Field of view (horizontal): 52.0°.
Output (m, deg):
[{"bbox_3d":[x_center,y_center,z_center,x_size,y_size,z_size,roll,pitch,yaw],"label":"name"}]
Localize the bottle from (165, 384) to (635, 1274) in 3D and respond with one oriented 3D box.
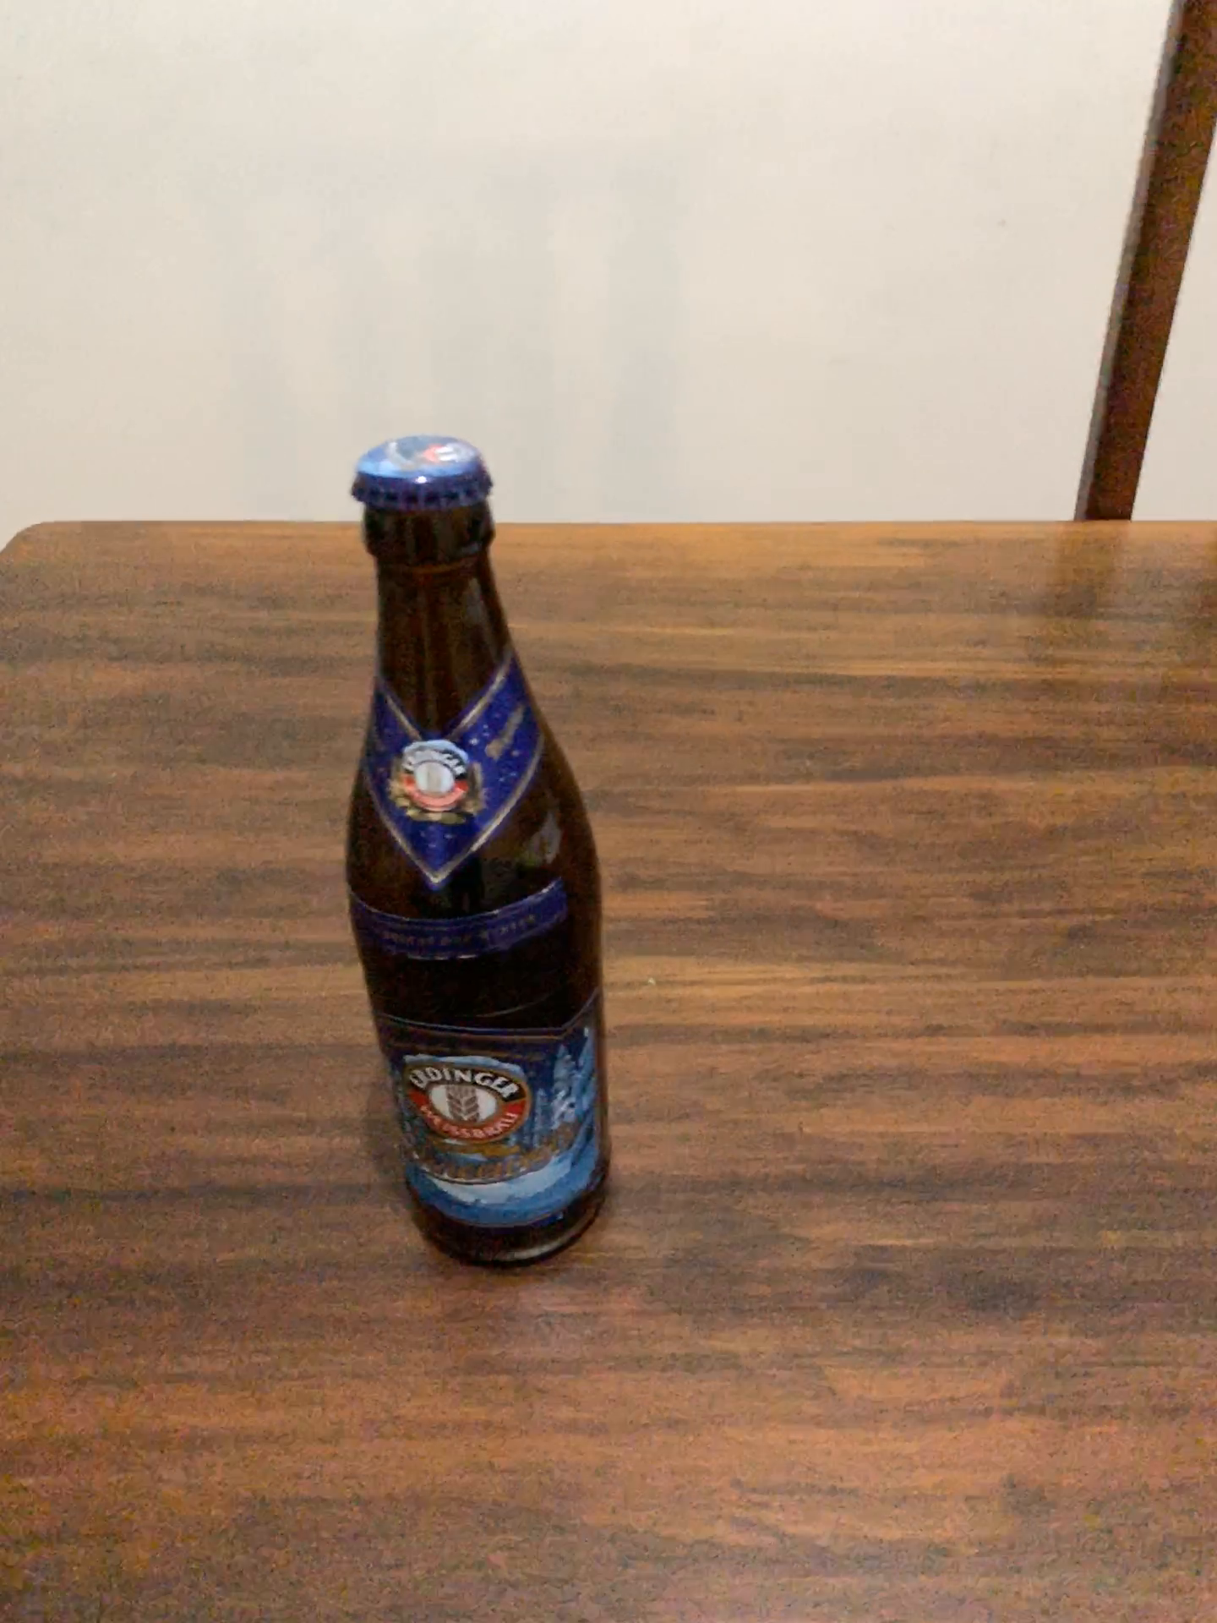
[{"bbox_3d":[-0.035,0.024,0.327,0.080,0.249,0.070,1,41,3],"label":"bottle"}]
